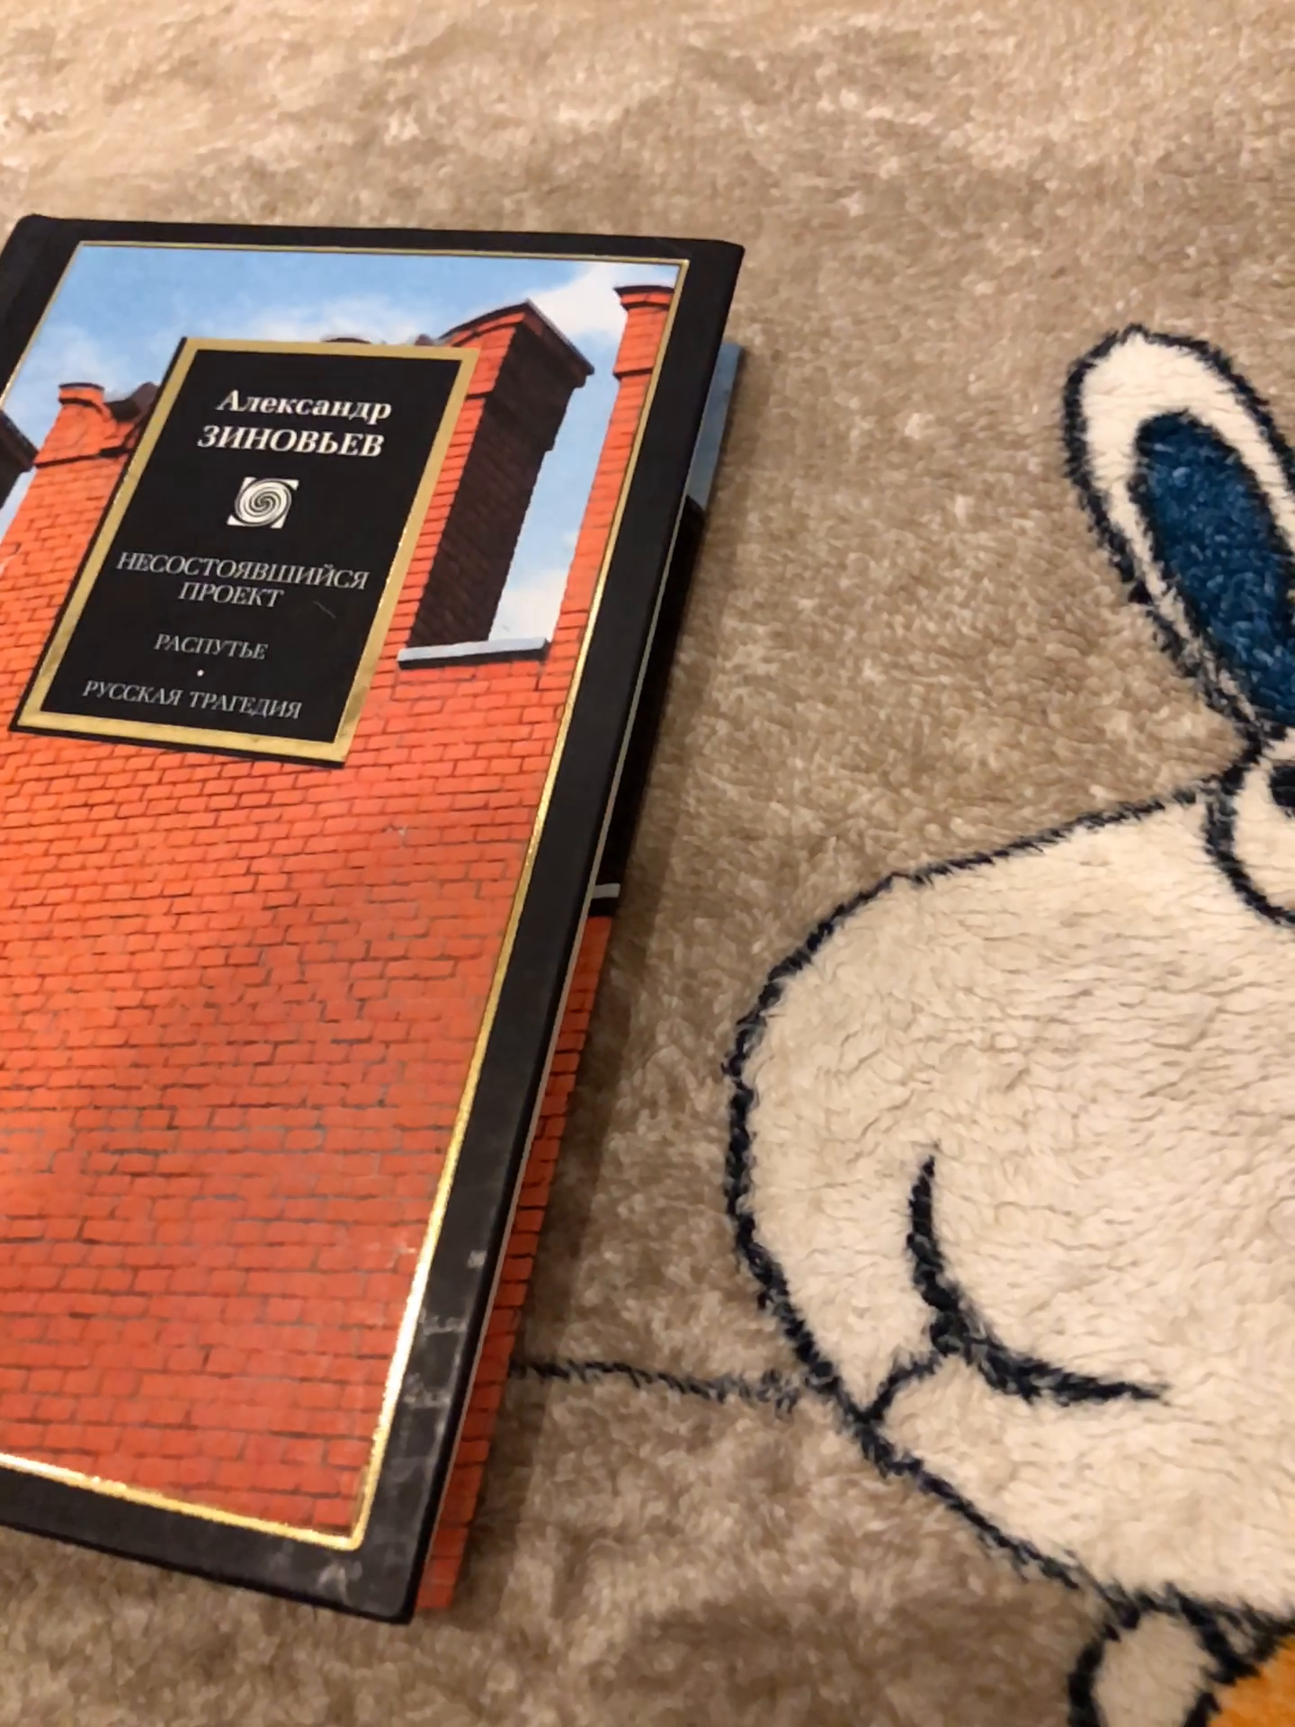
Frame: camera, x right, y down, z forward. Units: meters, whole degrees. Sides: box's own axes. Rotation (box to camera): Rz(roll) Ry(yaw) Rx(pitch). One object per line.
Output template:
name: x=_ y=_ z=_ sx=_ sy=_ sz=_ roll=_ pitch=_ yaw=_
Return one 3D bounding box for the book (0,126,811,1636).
book: x=-0.064 y=-0.020 z=0.215 sx=0.140 sy=0.040 sz=0.211 roll=8 pitch=65 yaw=13
